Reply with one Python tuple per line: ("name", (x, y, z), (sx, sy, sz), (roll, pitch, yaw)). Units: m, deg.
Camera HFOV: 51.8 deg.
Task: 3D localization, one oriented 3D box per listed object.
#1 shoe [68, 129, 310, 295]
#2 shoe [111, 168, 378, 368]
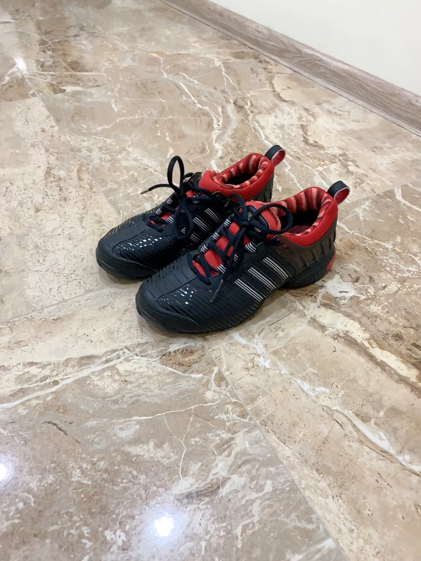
("shoe", (-0.018, -0.095, 0.534), (0.270, 0.090, 0.096), (-24, 49, -24))
("shoe", (0.042, -0.026, 0.473), (0.270, 0.090, 0.096), (-24, 49, -24))
